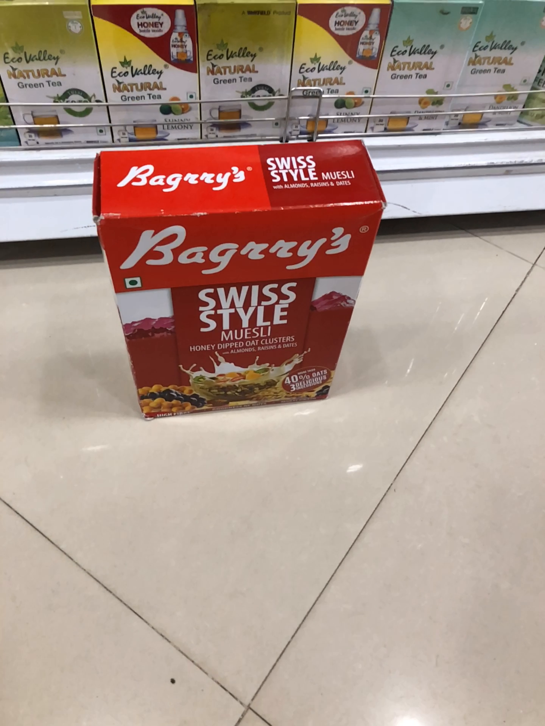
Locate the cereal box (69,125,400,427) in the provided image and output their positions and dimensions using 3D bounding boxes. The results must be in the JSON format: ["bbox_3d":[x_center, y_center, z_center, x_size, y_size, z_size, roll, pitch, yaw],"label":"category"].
[{"bbox_3d":[-0.033,-0.054,0.486,0.200,0.249,0.080,-6,56,-8],"label":"cereal box"}]
